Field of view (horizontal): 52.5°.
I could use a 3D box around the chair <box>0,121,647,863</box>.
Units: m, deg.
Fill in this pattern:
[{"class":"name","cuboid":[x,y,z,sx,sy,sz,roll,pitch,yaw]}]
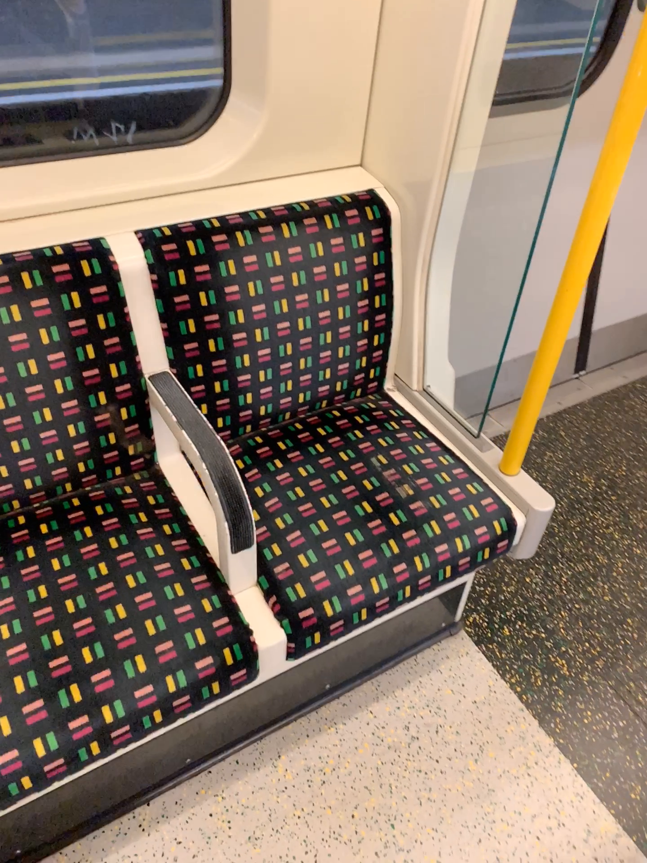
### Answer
[{"class":"chair","cuboid":[-0.302,0.085,1.085,1.063,0.762,0.916,-20,47,-25]}]
